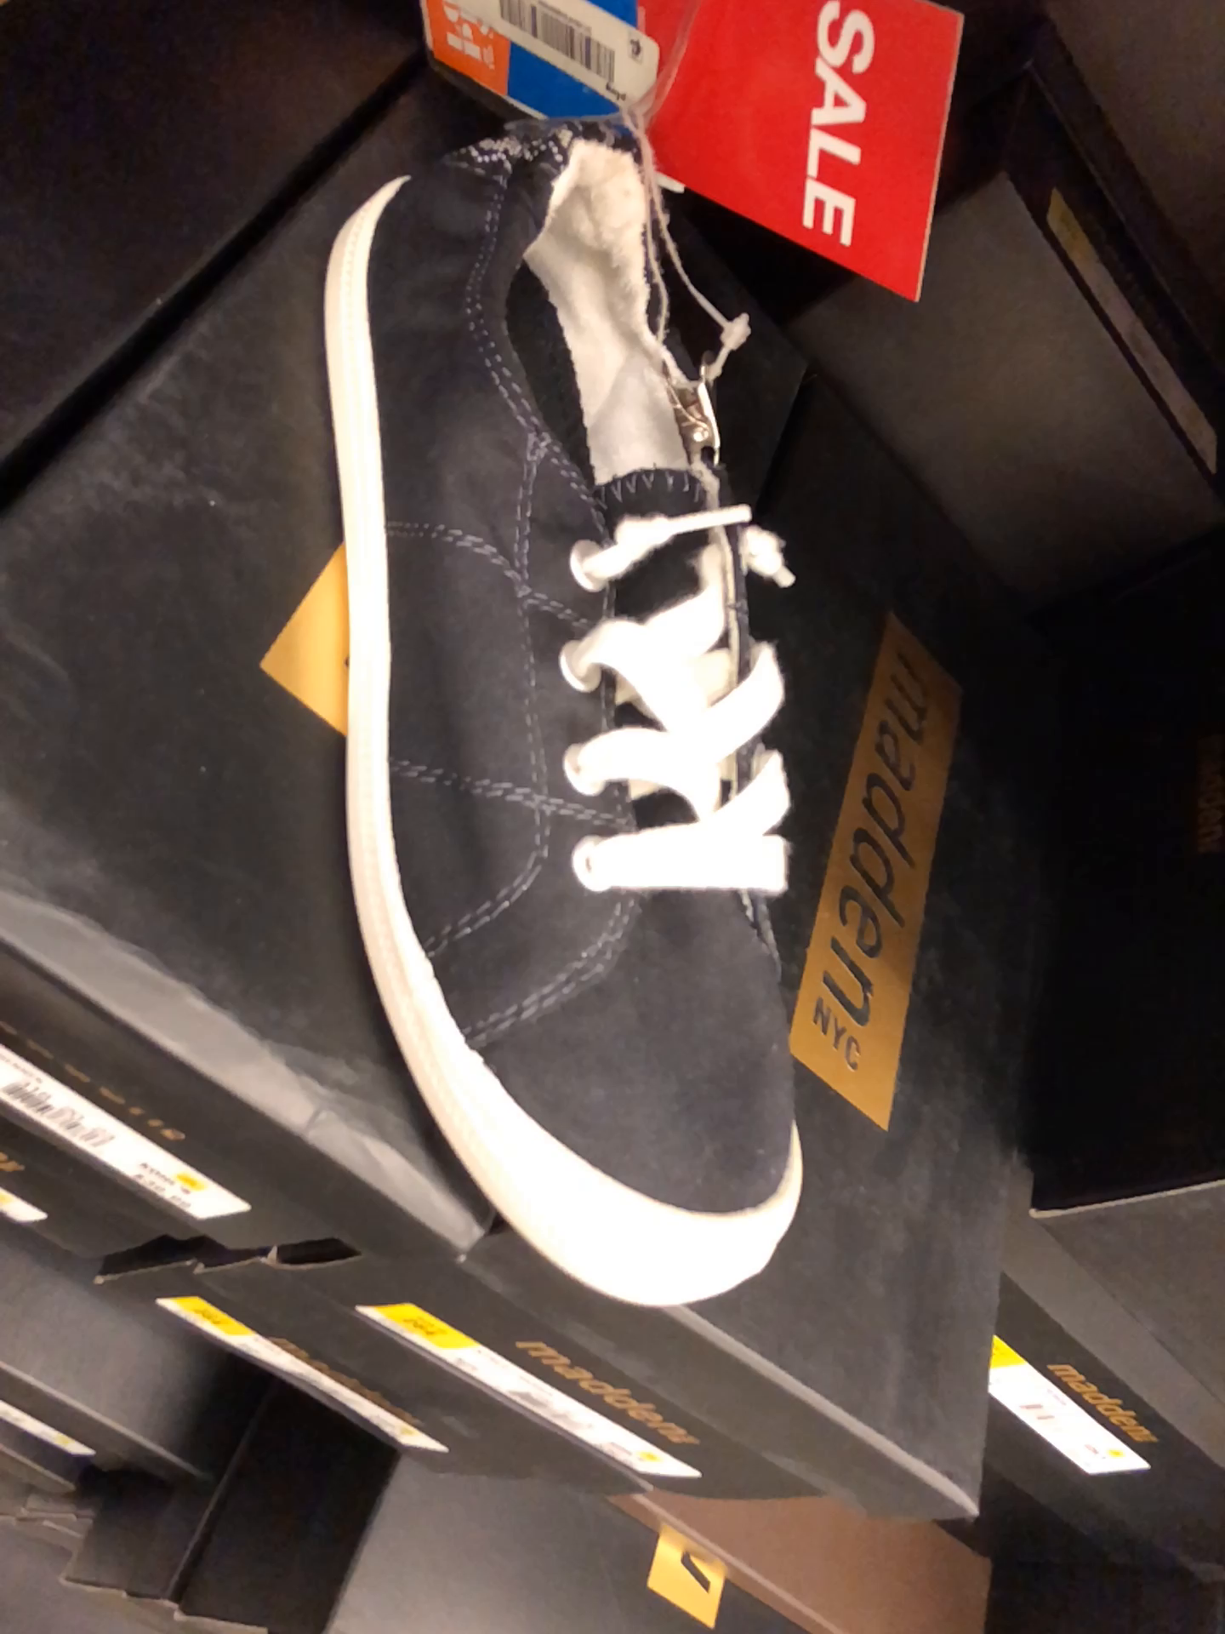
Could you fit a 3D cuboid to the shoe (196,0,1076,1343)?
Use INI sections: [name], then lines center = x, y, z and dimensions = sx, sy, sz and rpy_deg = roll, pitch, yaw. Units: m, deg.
[shoe]
center = -0.003, -0.036, 0.255
dimensions = 0.081, 0.081, 0.234
rpy_deg = 0, 72, -46
